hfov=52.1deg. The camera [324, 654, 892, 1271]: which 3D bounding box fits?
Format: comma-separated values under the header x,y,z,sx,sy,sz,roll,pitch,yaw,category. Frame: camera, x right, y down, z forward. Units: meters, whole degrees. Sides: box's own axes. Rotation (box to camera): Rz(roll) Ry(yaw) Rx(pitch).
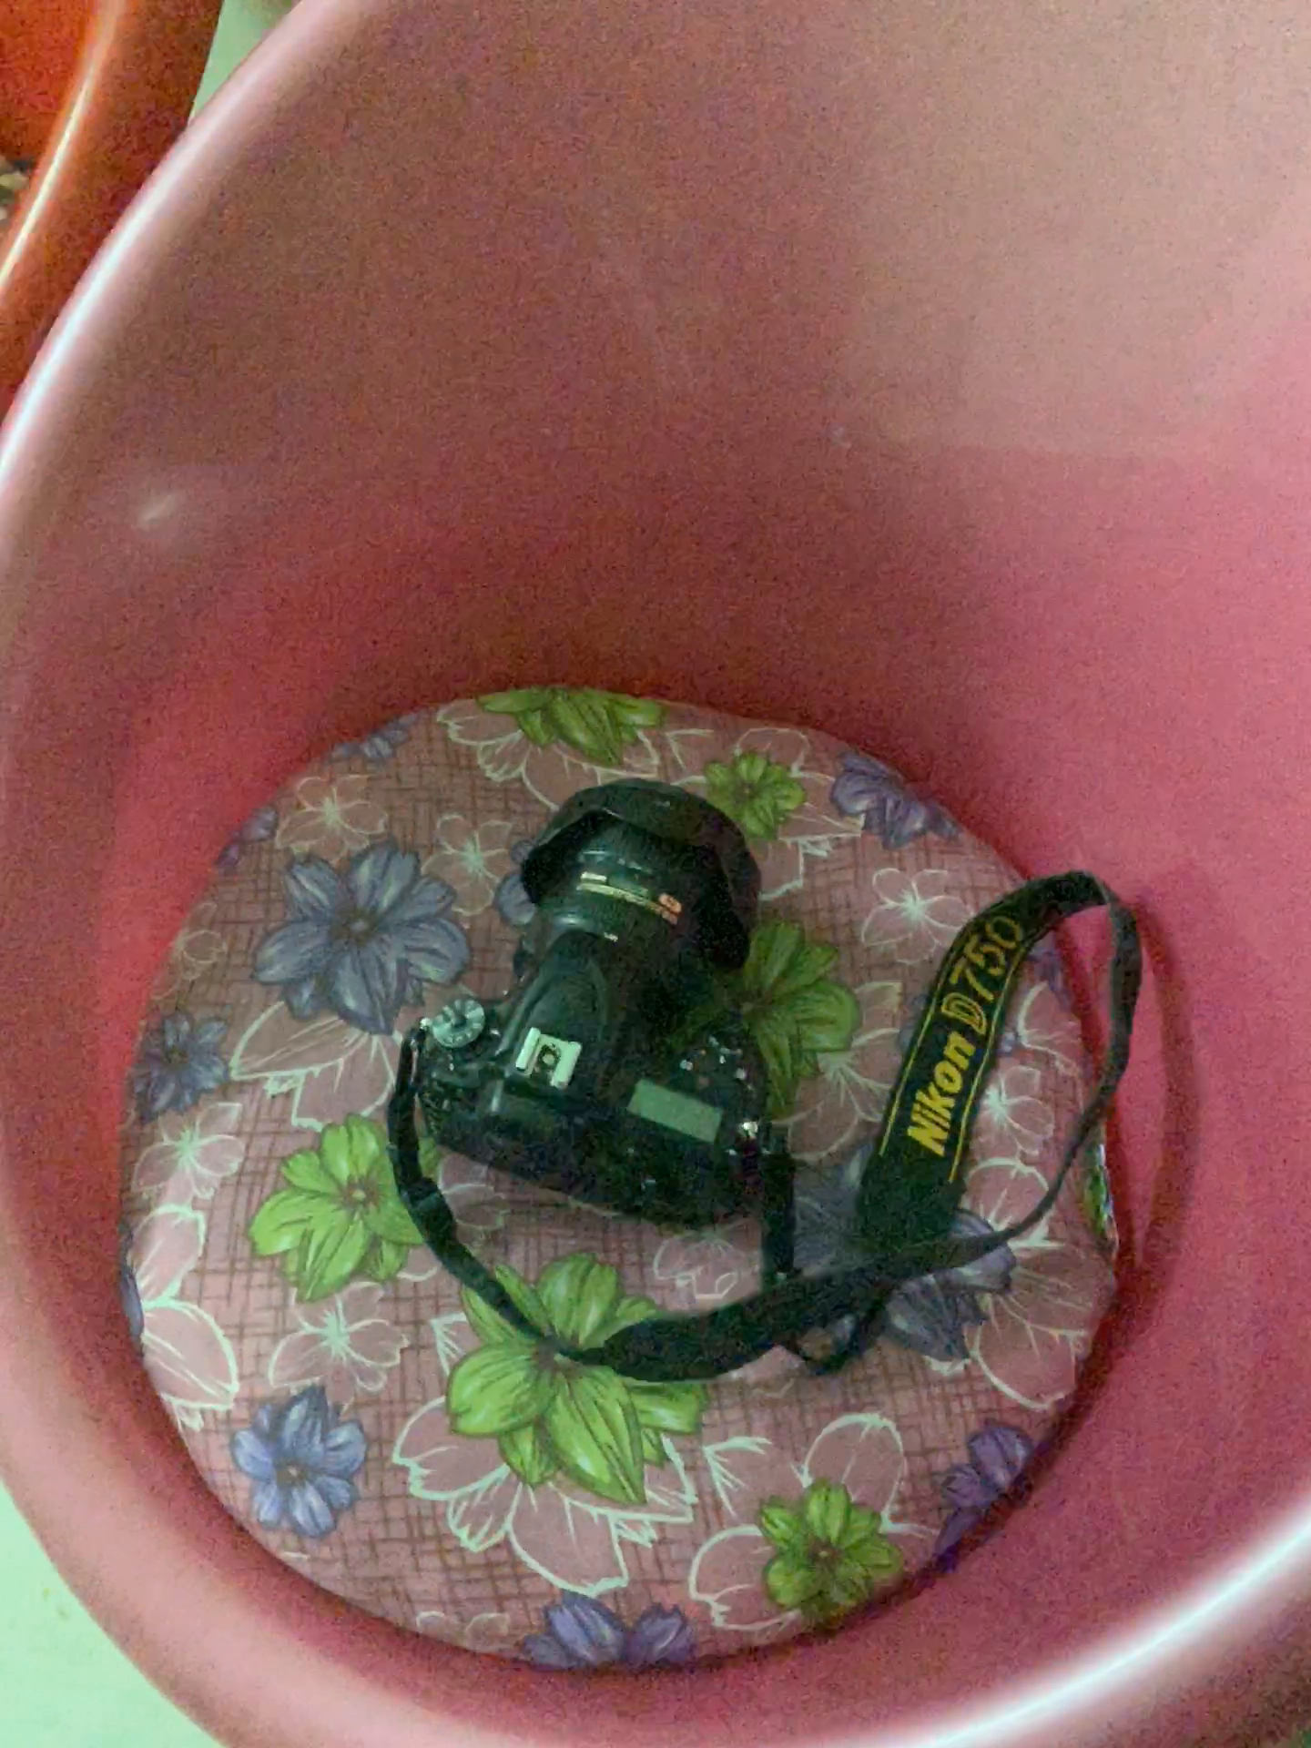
x,y,z,sx,sy,sz,roll,pitch,yaw,category
-0.010,0.038,0.582,0.166,0.130,0.192,16,63,12,camera
